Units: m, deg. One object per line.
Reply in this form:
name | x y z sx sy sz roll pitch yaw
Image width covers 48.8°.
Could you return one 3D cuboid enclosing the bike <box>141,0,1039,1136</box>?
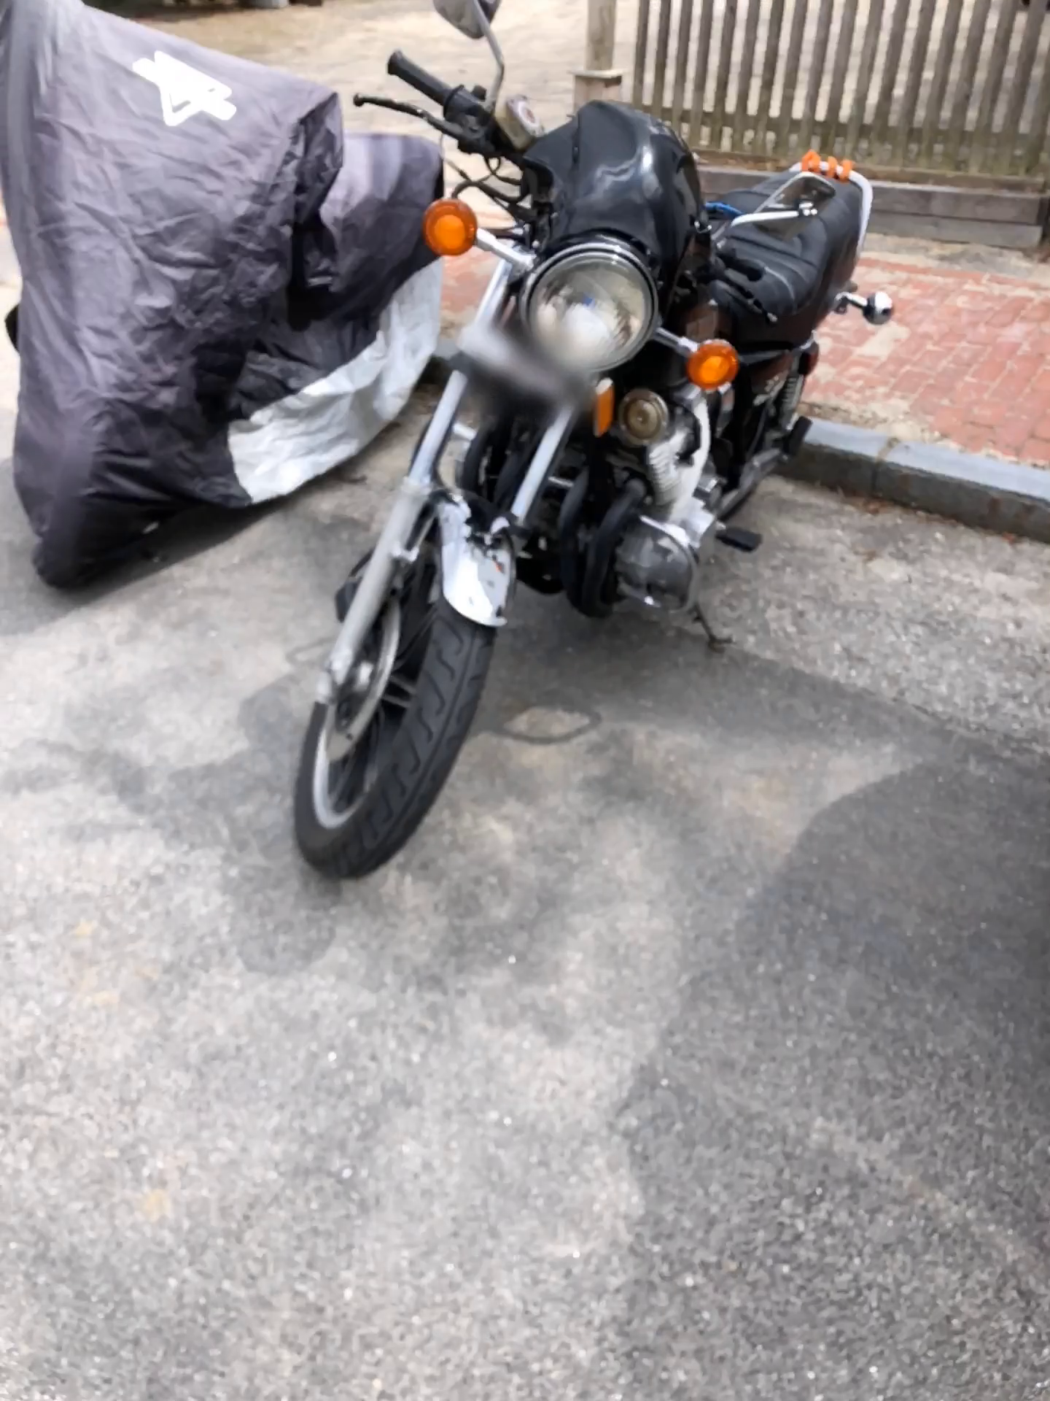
bike | 0.308 -0.499 2.170 0.709 1.157 1.979 17 40 21
